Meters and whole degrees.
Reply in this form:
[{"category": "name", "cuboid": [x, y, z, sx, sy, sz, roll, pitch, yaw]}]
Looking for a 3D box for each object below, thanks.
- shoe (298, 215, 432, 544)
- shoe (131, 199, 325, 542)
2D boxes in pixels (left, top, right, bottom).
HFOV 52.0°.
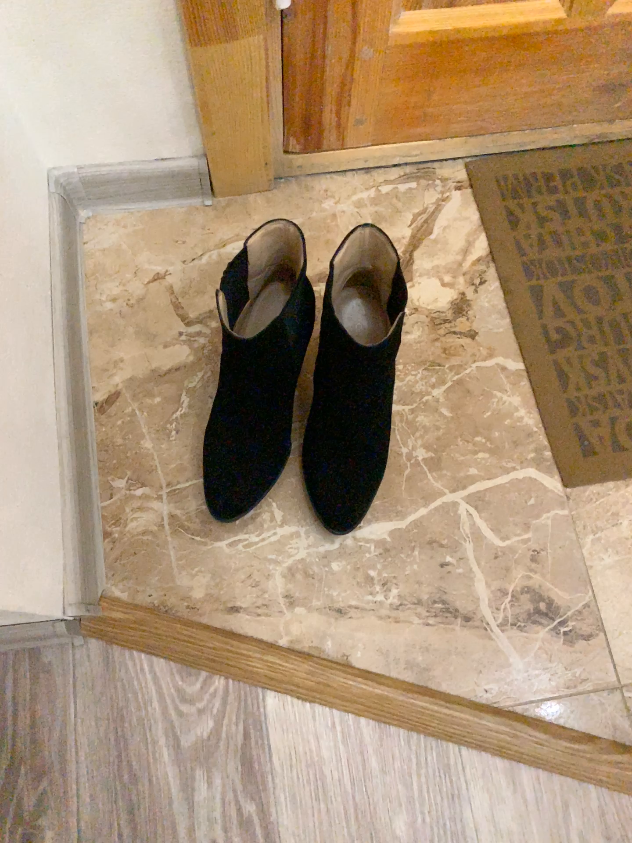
[{"category": "shoe", "cuboid": [0.034, -0.021, 0.553, 0.086, 0.199, 0.215, 3, 70, -1]}, {"category": "shoe", "cuboid": [-0.060, -0.028, 0.547, 0.086, 0.199, 0.215, 11, 70, 2]}]
